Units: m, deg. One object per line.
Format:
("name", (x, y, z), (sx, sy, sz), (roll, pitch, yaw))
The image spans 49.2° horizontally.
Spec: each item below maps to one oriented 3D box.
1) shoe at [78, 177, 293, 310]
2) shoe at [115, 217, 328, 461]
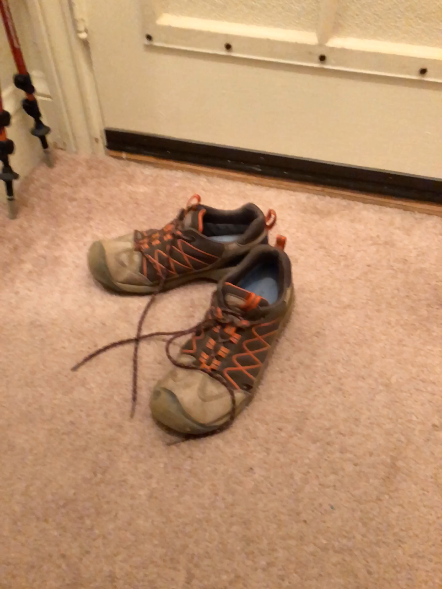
("shoe", (-0.056, -0.080, 0.758), (0.300, 0.129, 0.121), (-7, 50, -6))
("shoe", (0.011, 0.045, 0.620), (0.120, 0.129, 0.271), (28, 55, 21))
